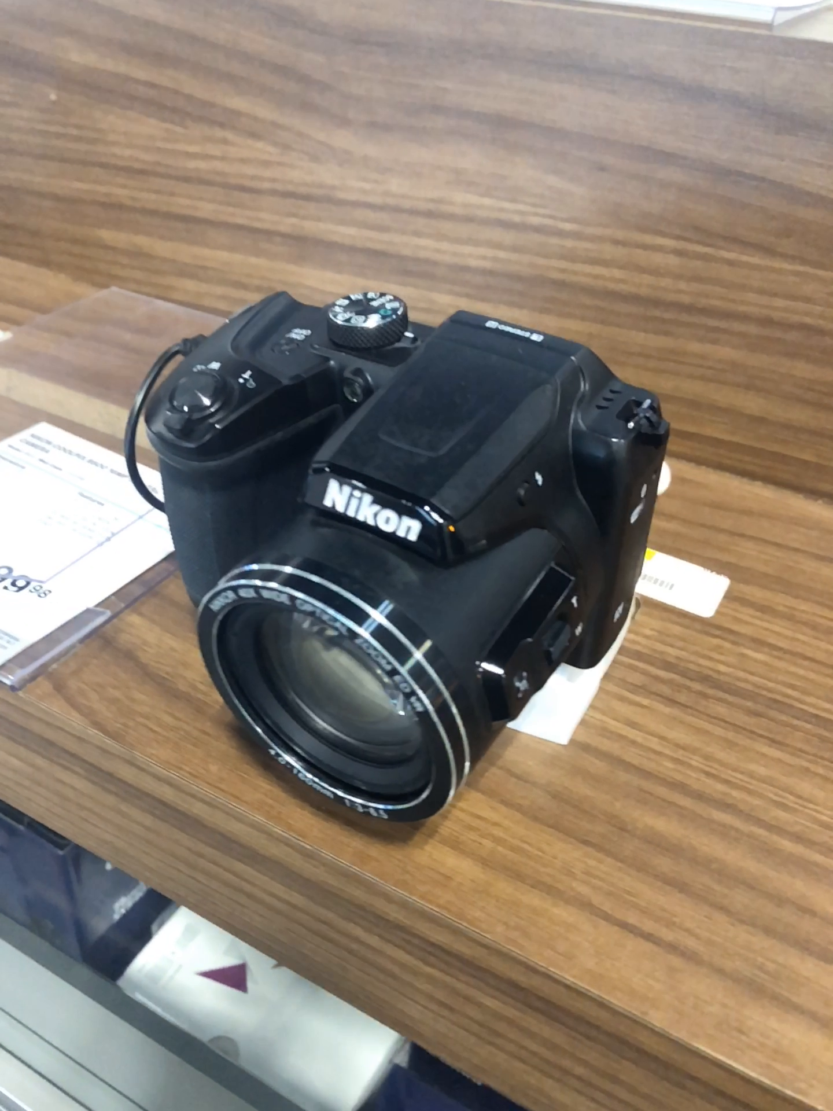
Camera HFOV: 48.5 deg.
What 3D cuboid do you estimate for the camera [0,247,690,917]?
[{"bbox_3d":[-0.015,-0.006,0.206,0.110,0.079,0.096,21,38,21],"label":"camera"}]
